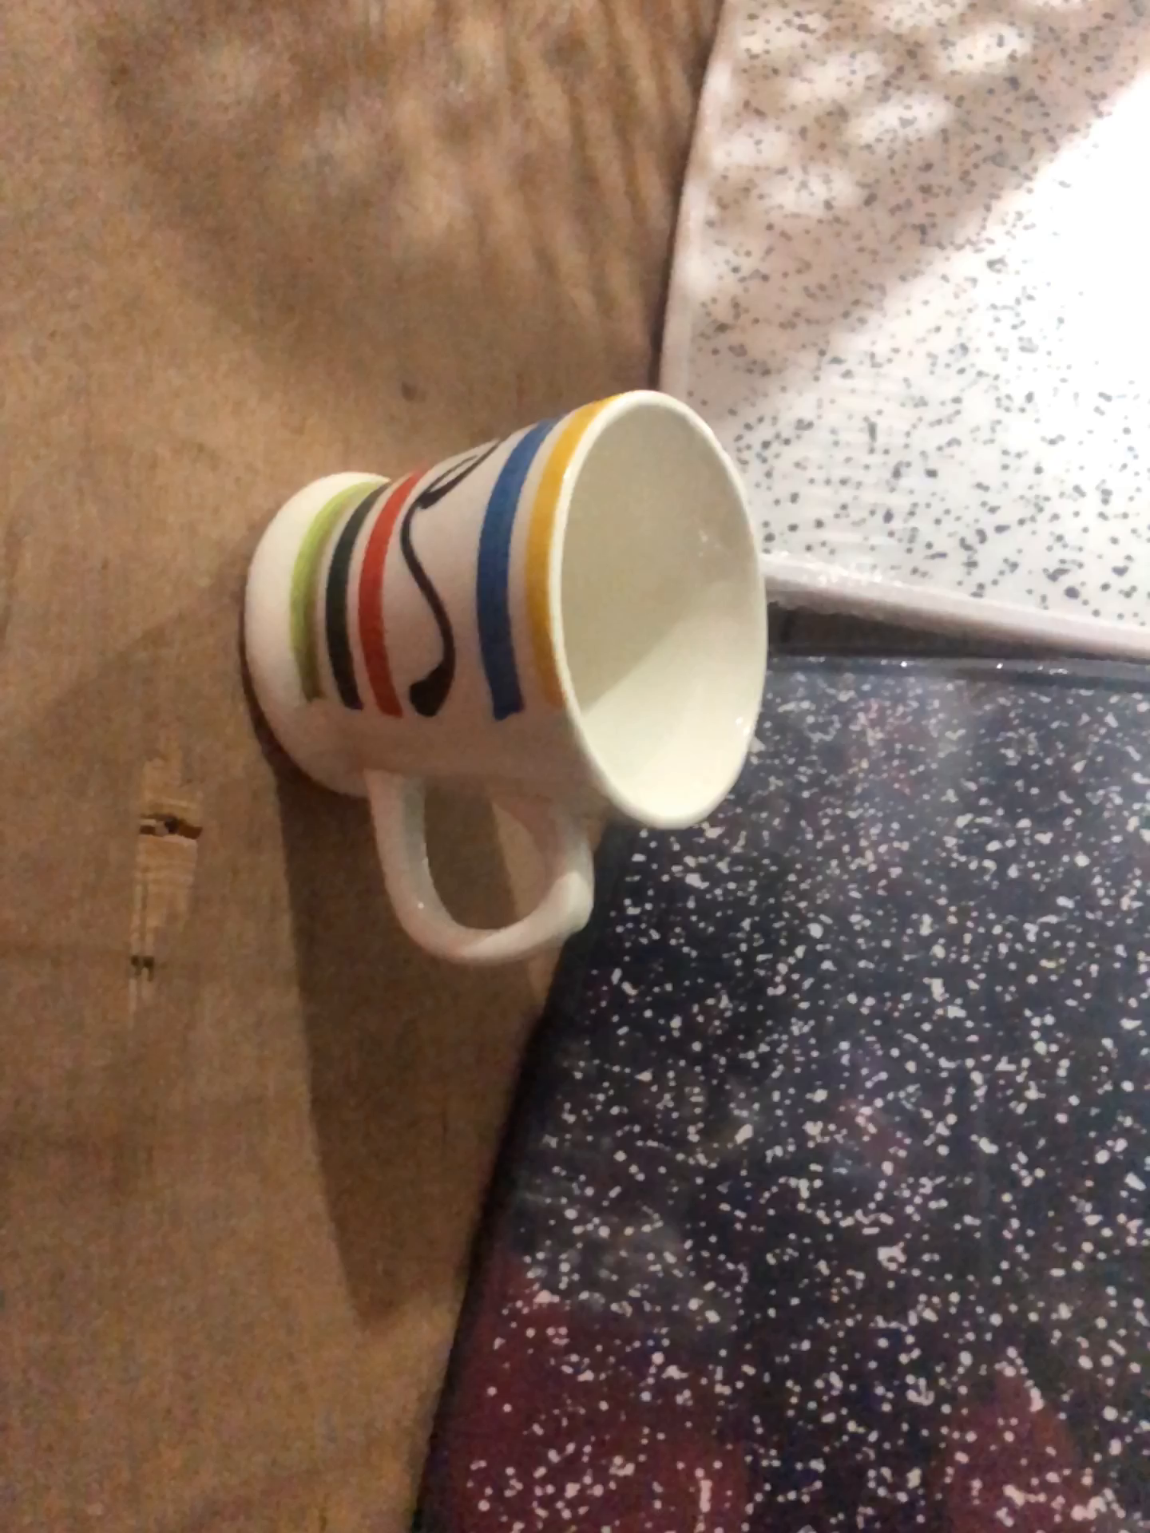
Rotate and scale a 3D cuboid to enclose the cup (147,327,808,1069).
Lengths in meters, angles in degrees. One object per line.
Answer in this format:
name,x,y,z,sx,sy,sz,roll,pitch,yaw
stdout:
cup,-0.014,-0.005,0.216,0.060,0.079,0.100,20,73,-54
